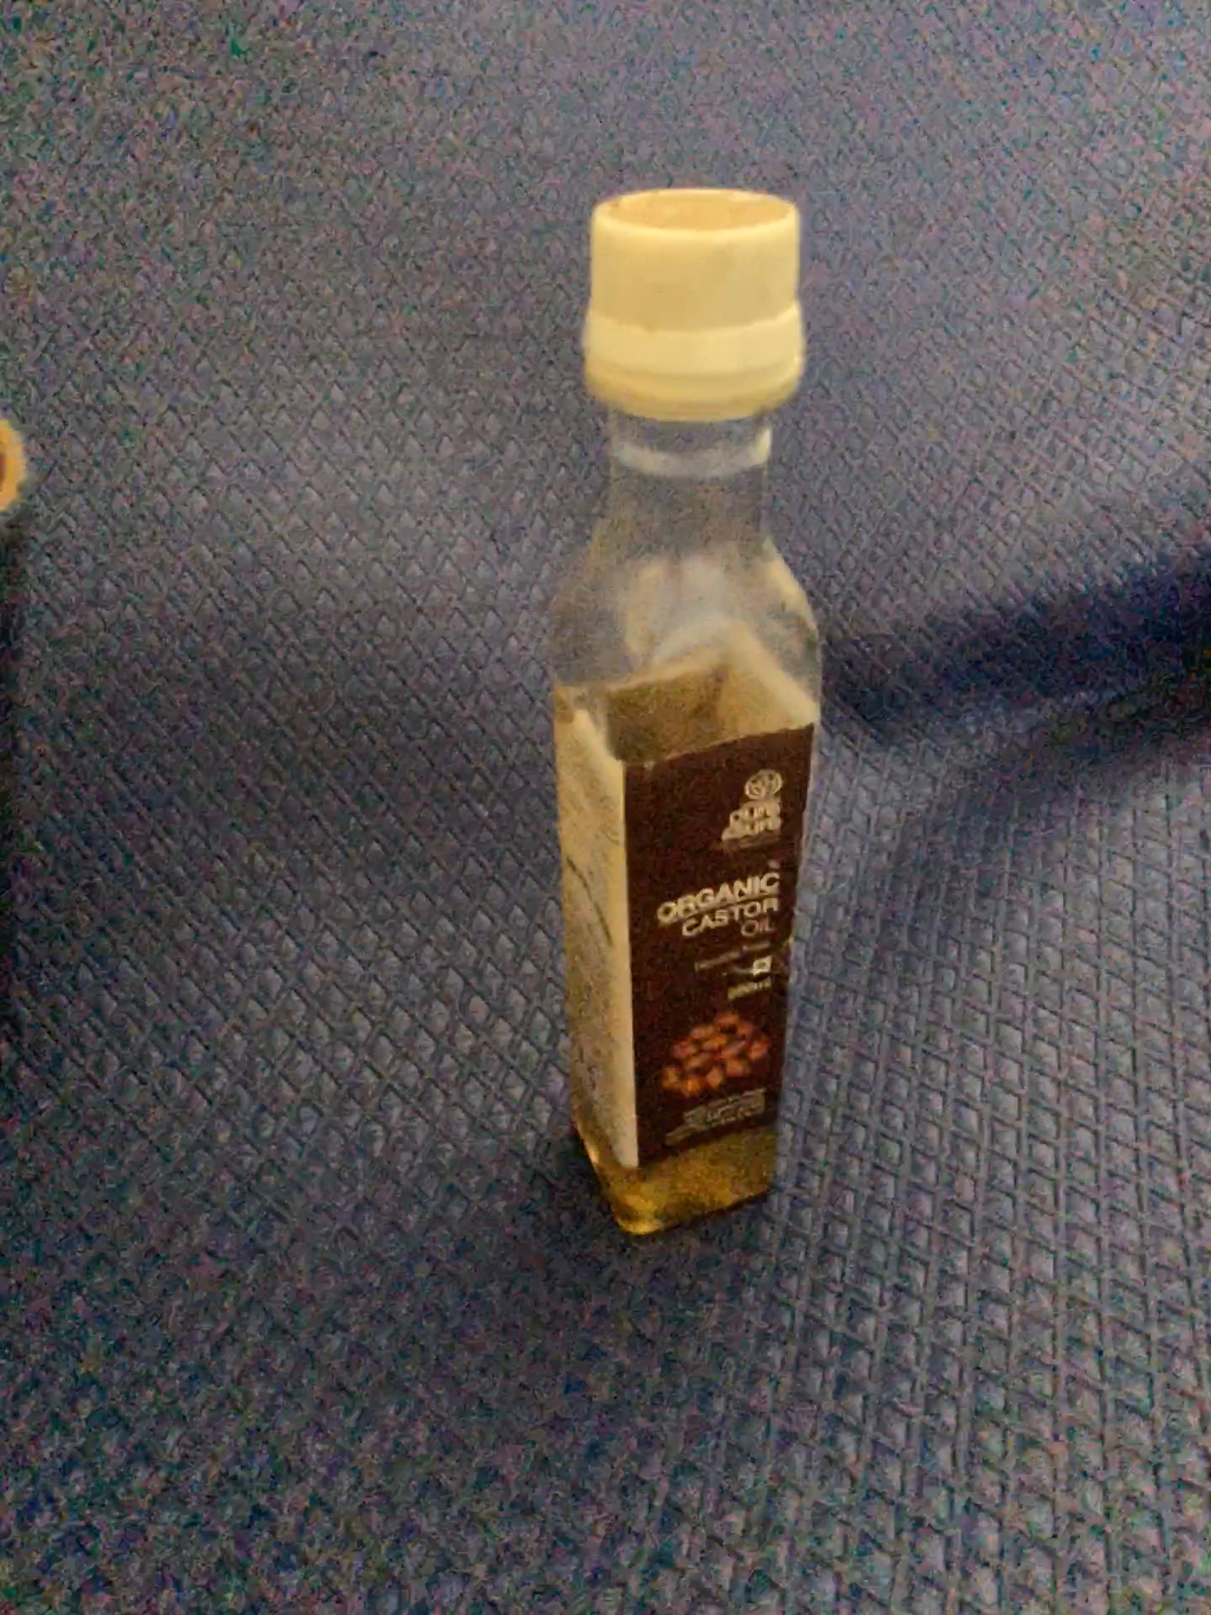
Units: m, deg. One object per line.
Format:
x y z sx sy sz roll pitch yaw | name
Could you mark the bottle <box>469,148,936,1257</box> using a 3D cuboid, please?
0.015 -0.007 0.234 0.050 0.198 0.050 -2 34 1 | bottle
